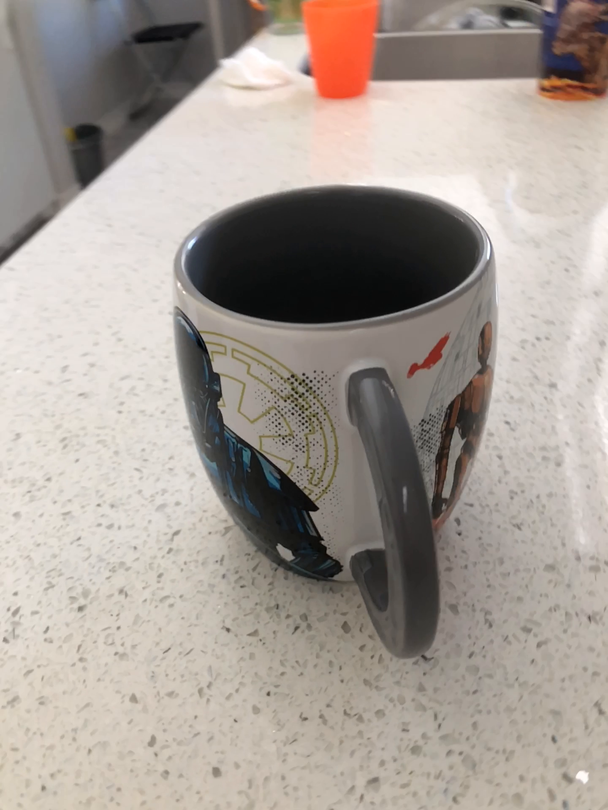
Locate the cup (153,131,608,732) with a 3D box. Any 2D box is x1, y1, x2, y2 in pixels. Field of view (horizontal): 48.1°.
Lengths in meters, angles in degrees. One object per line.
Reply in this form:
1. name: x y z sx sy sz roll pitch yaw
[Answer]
1. cup: 0.016 -0.006 0.204 0.100 0.100 0.141 -9 38 -7
